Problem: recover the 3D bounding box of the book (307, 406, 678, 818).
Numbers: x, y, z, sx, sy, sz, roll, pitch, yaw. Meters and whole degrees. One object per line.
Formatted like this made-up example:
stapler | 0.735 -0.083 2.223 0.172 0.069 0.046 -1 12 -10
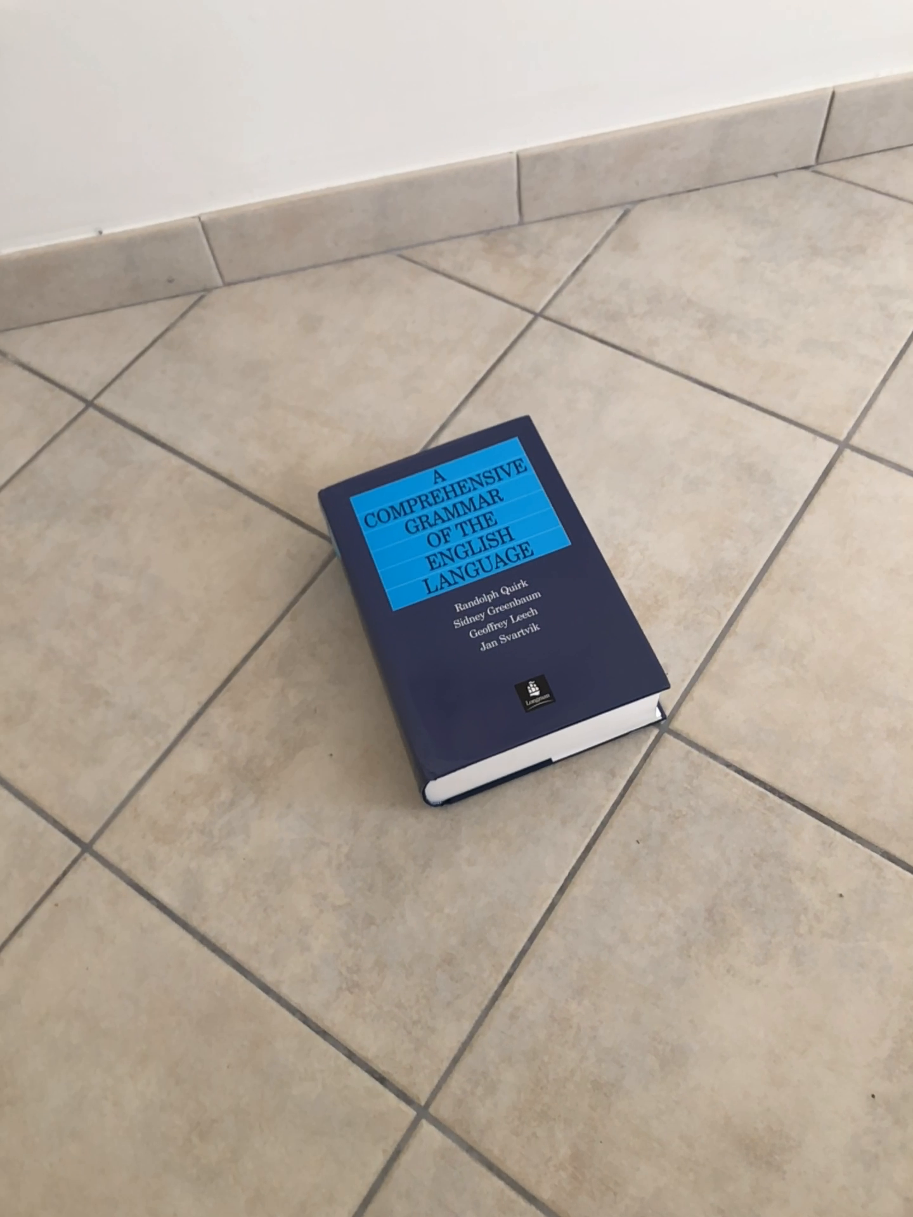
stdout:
book | 0.019 -0.006 0.738 0.180 0.067 0.257 -21 61 -5
